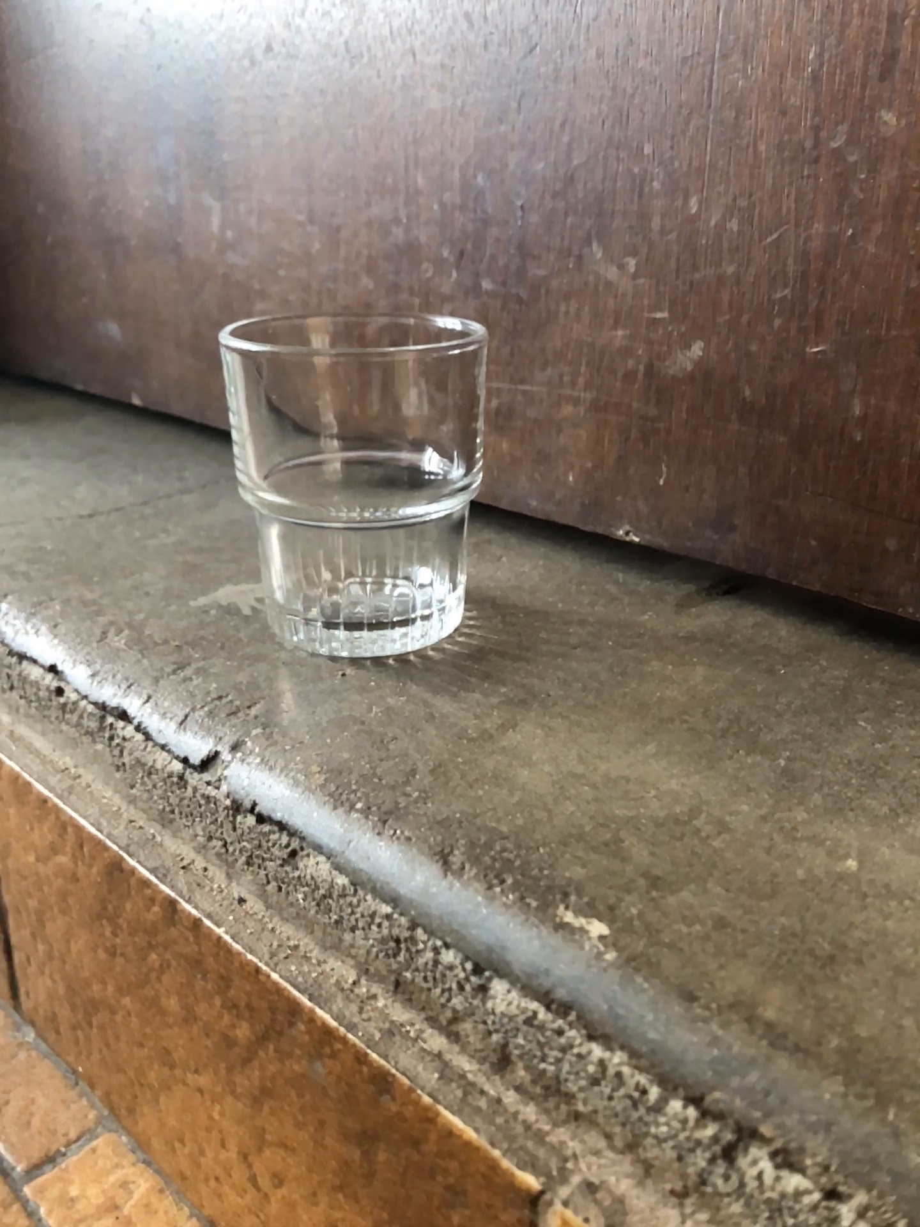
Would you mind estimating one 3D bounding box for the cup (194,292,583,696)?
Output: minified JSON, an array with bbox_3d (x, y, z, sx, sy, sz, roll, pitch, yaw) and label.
[{"bbox_3d":[-0.019,-0.037,0.266,0.070,0.080,0.070,0,23,0],"label":"cup"}]
